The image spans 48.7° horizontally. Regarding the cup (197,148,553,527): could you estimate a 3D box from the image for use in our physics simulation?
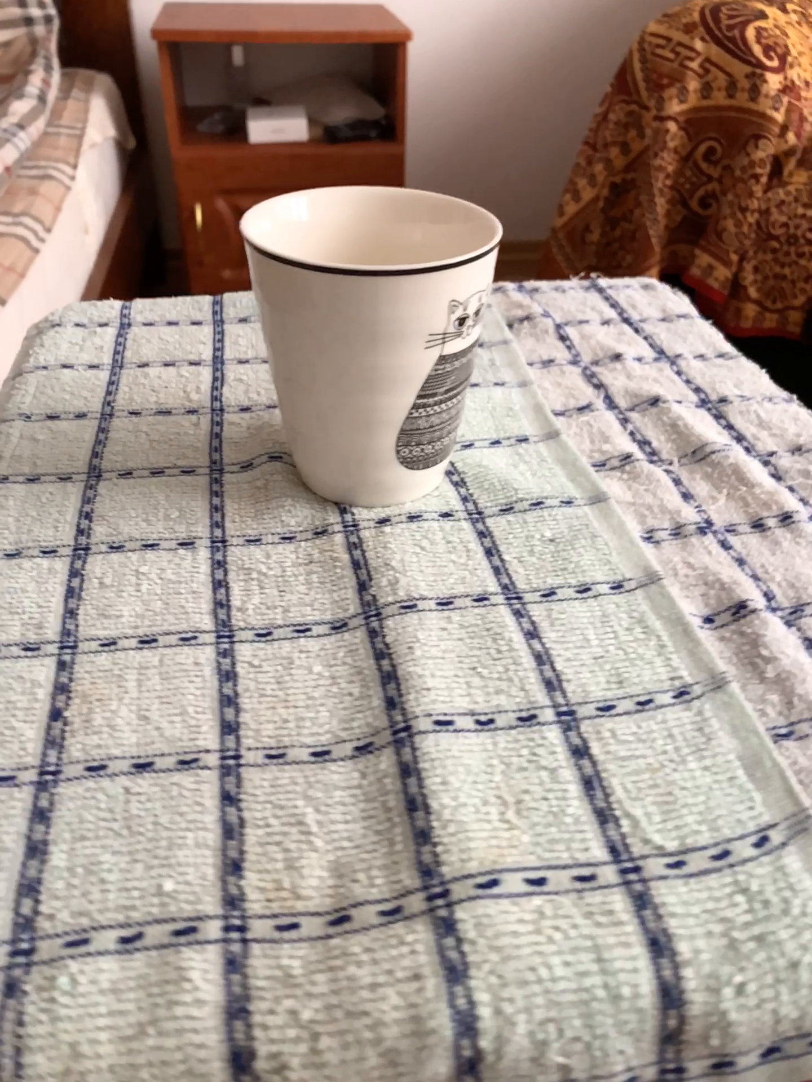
[{"bbox_3d":[-0.005,-0.085,0.346,0.090,0.090,0.124,12,38,14],"label":"cup"}]
